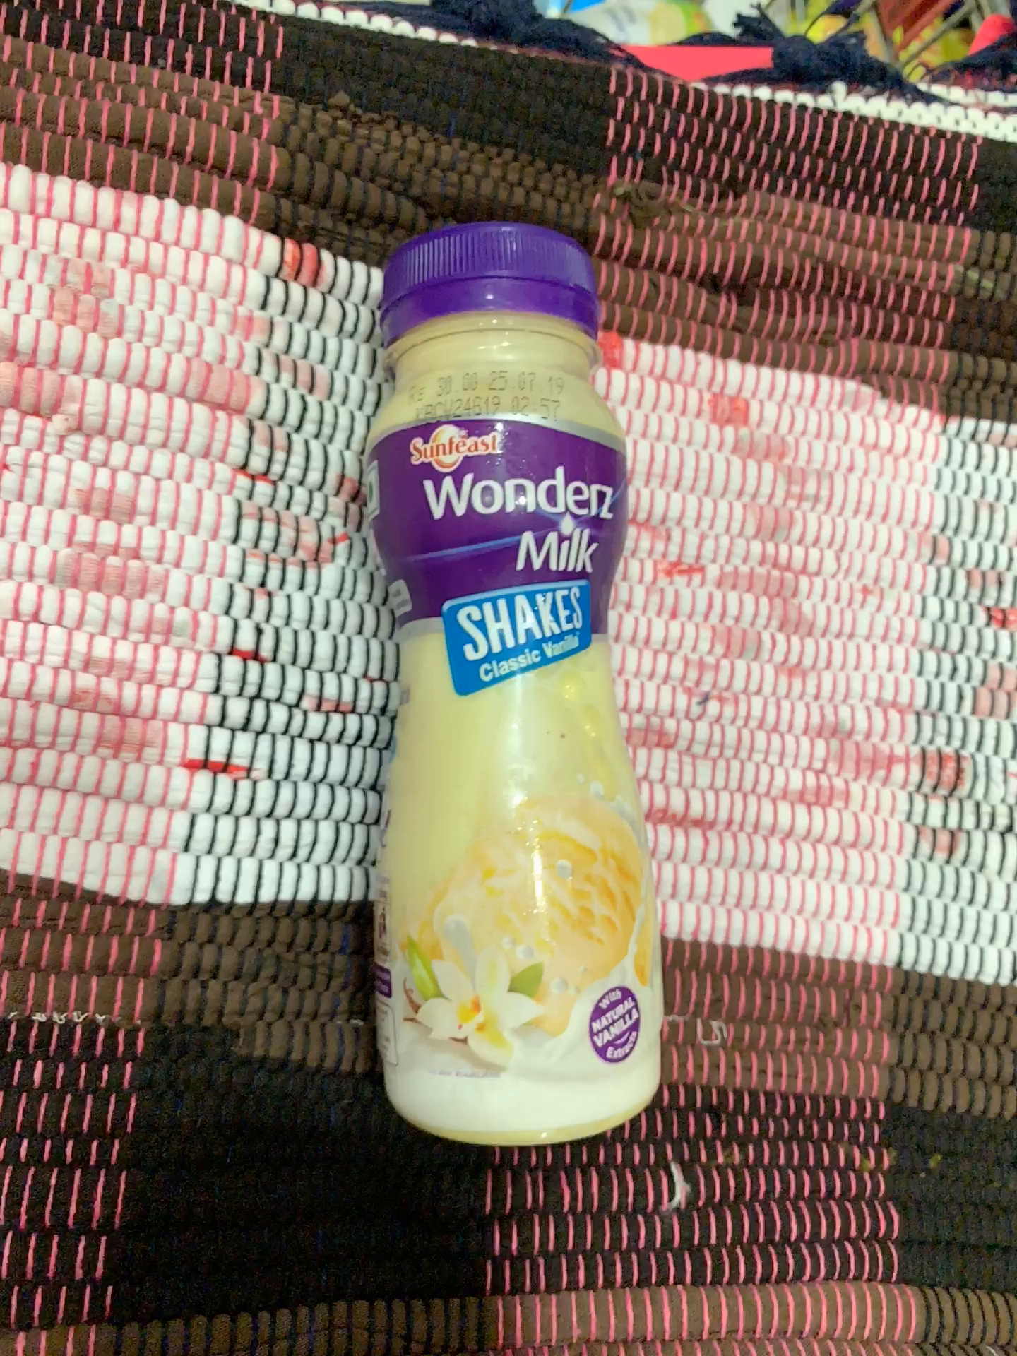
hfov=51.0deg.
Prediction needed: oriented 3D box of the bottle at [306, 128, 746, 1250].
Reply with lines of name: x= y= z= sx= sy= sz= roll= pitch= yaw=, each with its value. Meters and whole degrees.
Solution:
bottle: x=-0.001 y=0.000 z=0.183 sx=0.060 sy=0.050 sz=0.160 roll=-1 pitch=87 yaw=-13
